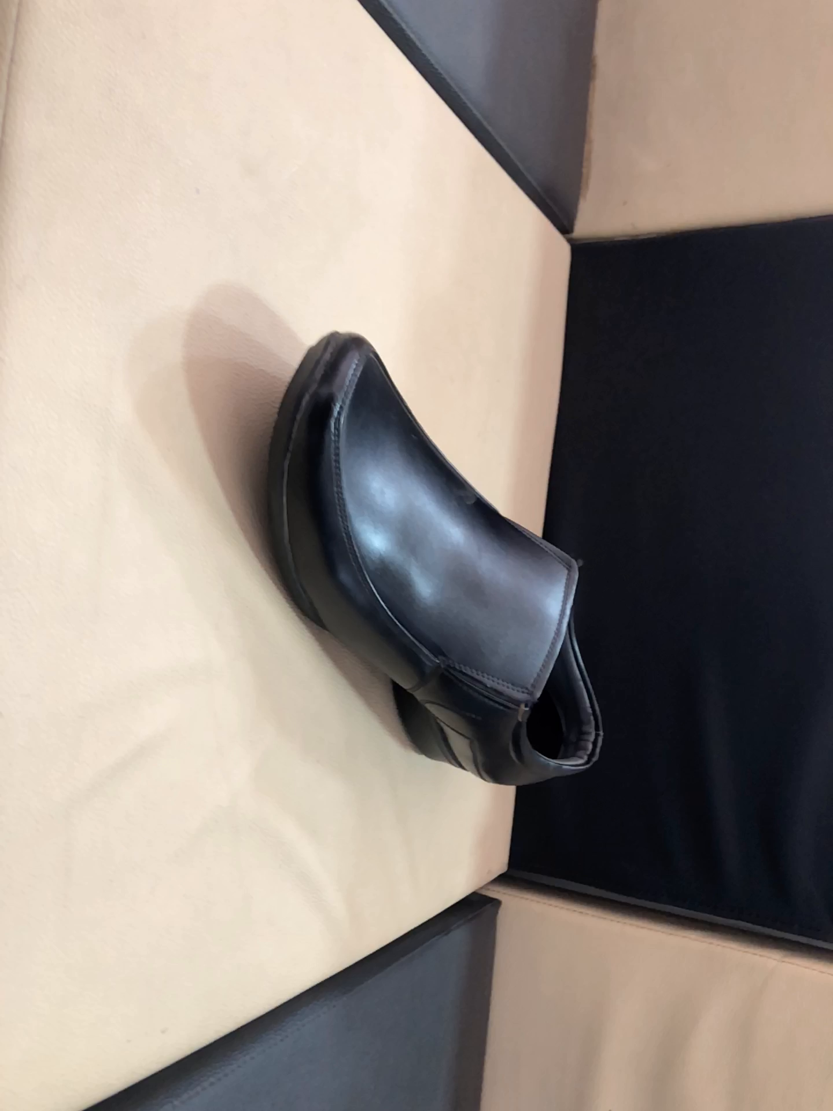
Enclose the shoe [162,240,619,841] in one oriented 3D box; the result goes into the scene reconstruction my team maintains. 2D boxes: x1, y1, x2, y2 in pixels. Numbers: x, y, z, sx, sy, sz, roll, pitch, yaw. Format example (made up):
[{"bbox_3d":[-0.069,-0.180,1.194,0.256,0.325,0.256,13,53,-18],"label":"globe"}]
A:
[{"bbox_3d":[0.015,0.016,0.466,0.100,0.099,0.322,-64,146,-33],"label":"shoe"}]
